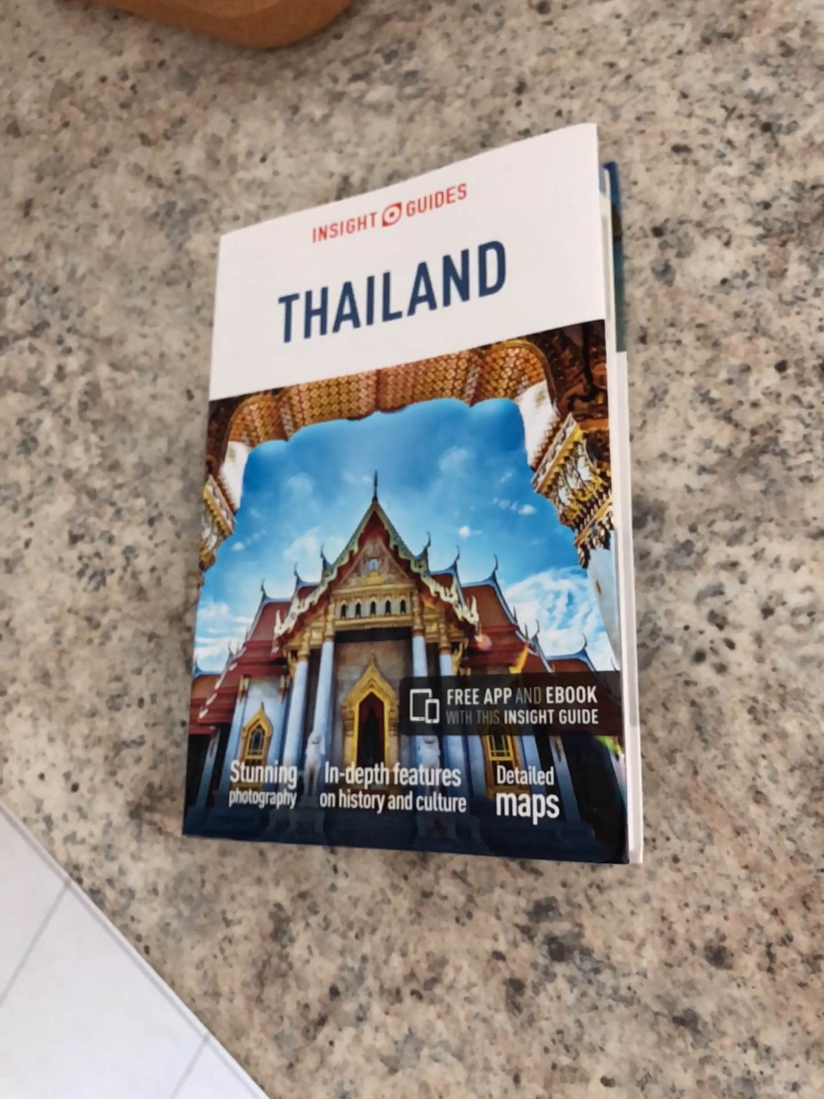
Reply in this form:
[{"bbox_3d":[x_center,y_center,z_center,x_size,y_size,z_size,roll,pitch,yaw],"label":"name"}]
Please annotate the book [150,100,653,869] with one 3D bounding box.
[{"bbox_3d":[-0.007,-0.021,0.323,0.164,0.030,0.240,-6,73,27],"label":"book"}]
